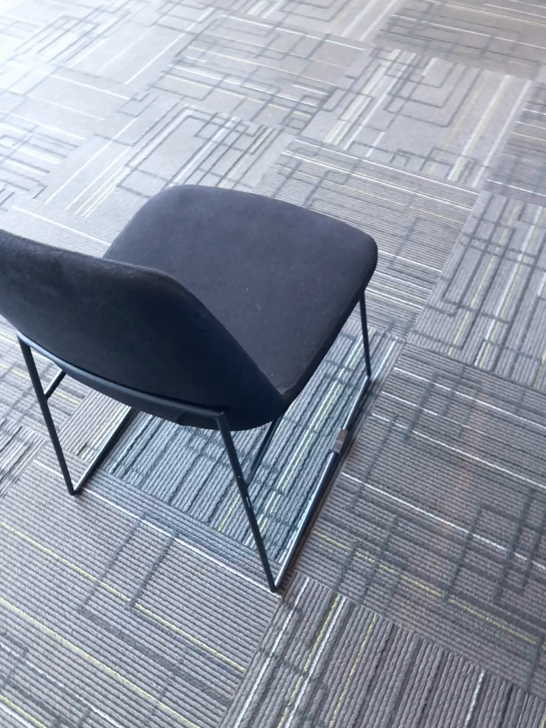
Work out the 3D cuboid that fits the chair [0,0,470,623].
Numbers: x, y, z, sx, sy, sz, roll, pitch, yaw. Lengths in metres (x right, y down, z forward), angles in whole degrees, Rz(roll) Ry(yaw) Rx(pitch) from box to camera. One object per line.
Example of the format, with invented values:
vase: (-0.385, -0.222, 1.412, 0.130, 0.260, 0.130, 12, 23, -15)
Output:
chair: (-0.147, -0.094, 0.899, 0.561, 0.768, 0.551, 21, 59, 16)
